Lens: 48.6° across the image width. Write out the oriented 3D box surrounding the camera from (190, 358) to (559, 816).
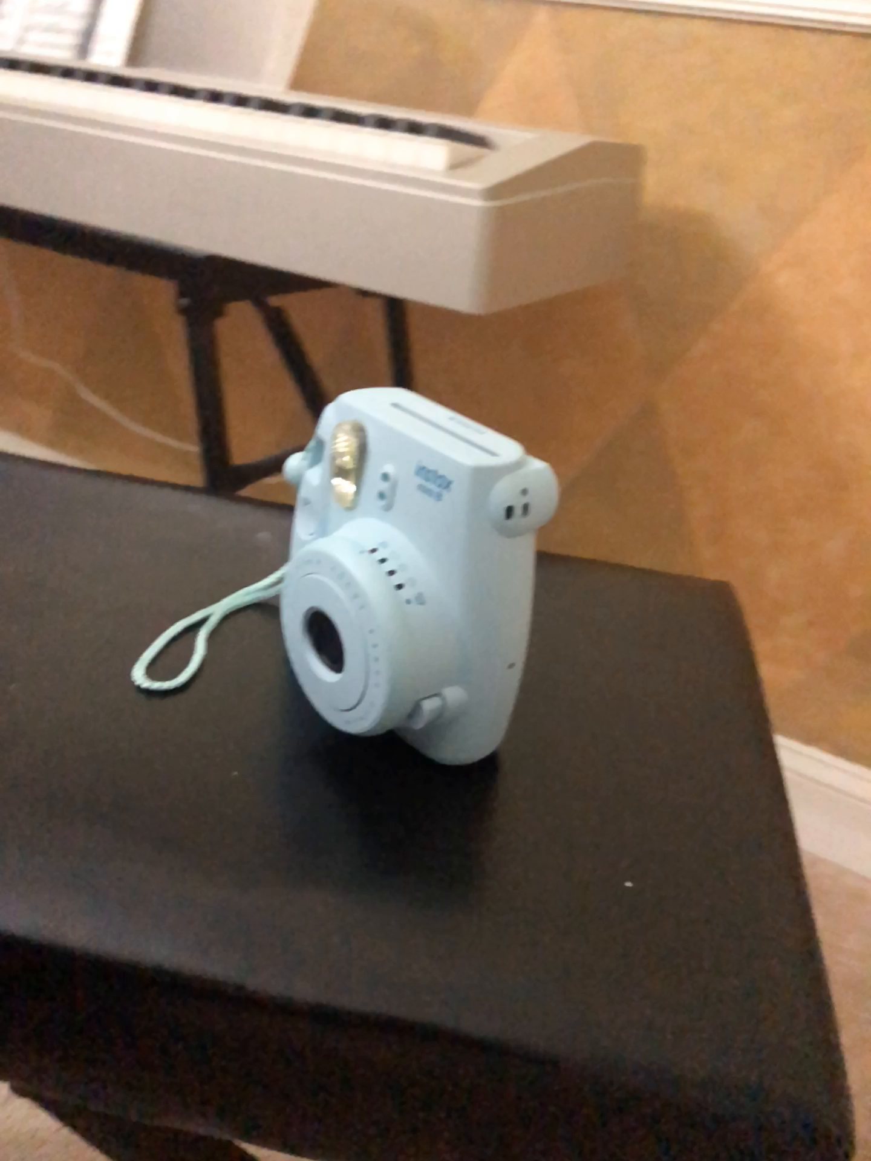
[{"bbox_3d":[-0.031,-0.005,0.359,0.068,0.118,0.120,-15,35,-38],"label":"camera"}]
